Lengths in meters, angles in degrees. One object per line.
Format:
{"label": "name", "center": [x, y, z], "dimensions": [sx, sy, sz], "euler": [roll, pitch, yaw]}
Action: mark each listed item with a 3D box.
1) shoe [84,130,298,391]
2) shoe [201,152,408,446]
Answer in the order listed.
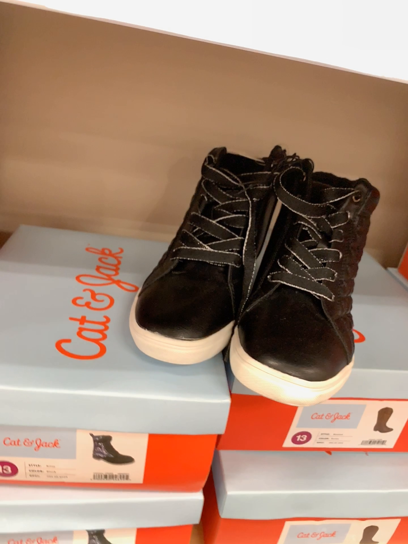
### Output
{"label": "shoe", "center": [0.005, -0.035, 0.366], "dimensions": [0.100, 0.119, 0.231], "euler": [17, 29, 10]}
{"label": "shoe", "center": [0.087, -0.007, 0.333], "dimensions": [0.100, 0.109, 0.231], "euler": [17, 29, 10]}
